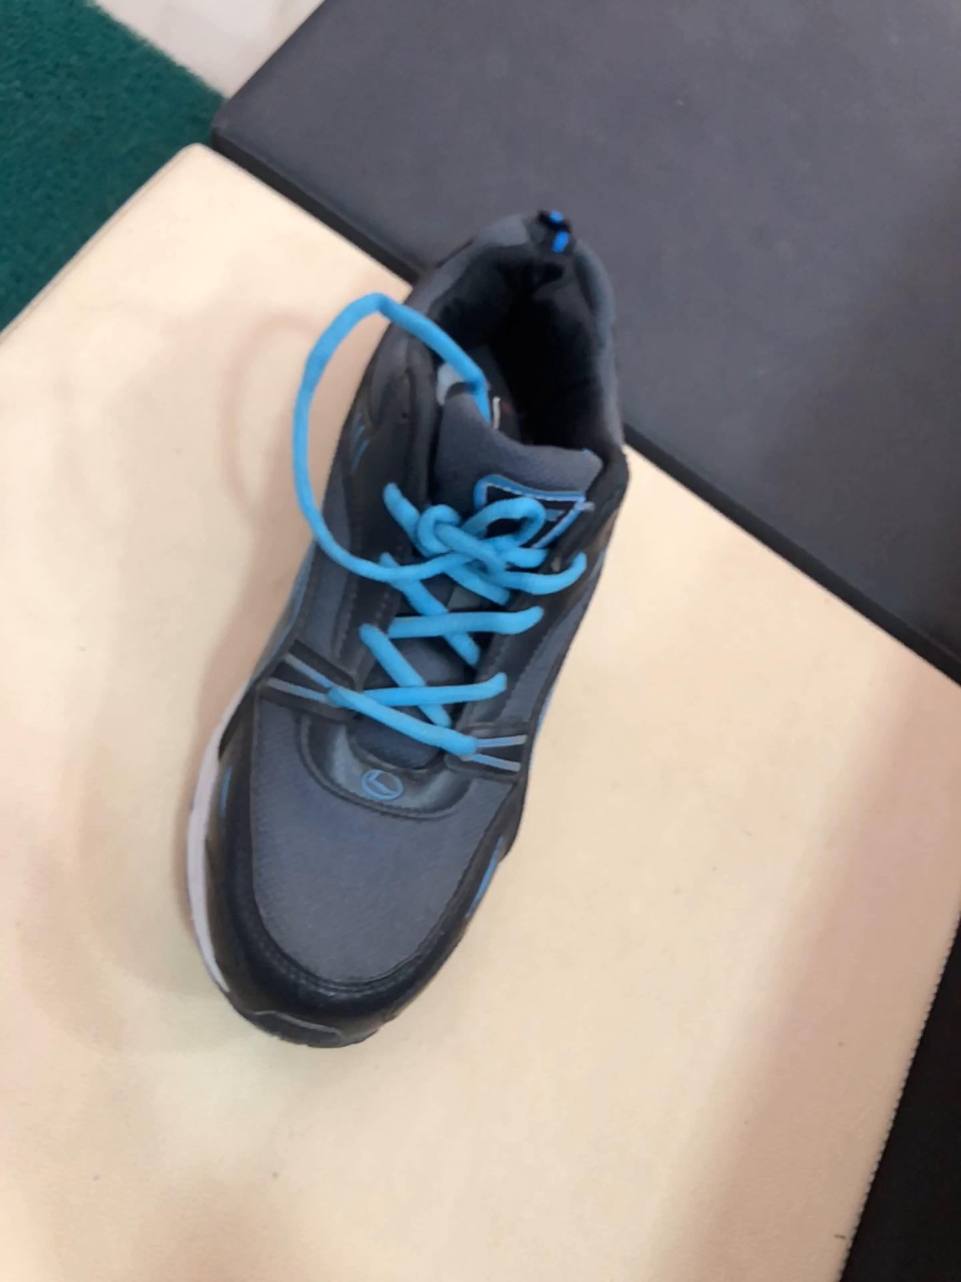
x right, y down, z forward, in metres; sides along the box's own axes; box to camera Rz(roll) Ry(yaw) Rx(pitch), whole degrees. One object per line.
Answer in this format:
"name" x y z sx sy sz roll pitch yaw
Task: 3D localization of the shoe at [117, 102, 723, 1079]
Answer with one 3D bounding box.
"shoe" -0.015 -0.018 0.348 0.100 0.100 0.270 21 68 -14
